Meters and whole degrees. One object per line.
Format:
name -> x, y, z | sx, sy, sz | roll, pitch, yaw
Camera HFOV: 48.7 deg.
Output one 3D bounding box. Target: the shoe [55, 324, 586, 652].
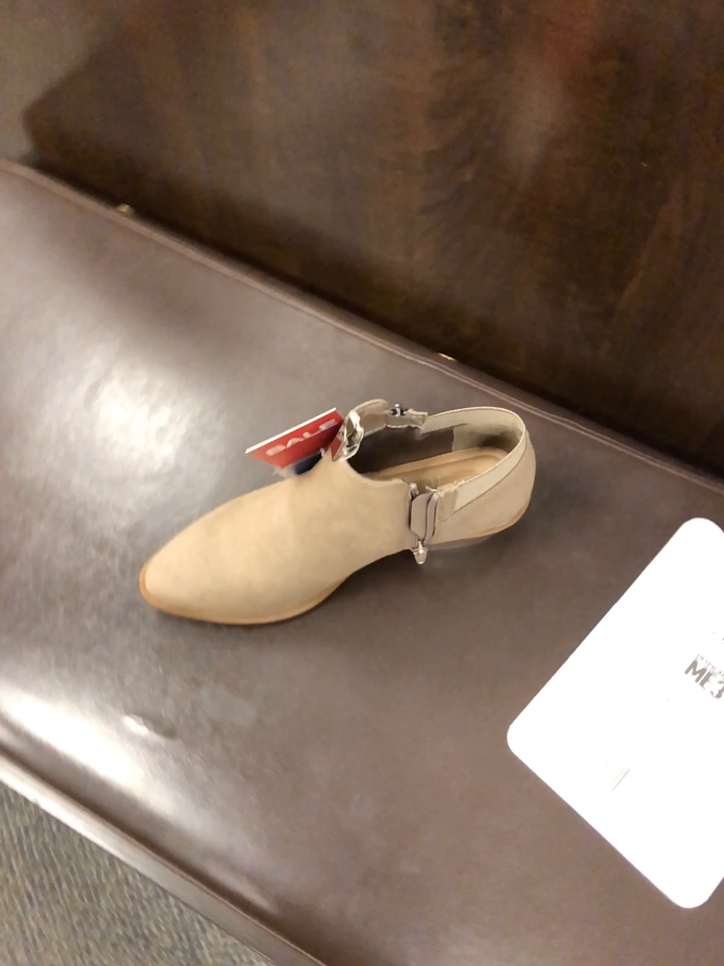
shoe -> -0.024, 0.009, 0.473 | 0.260, 0.133, 0.097 | -12, 65, -5
